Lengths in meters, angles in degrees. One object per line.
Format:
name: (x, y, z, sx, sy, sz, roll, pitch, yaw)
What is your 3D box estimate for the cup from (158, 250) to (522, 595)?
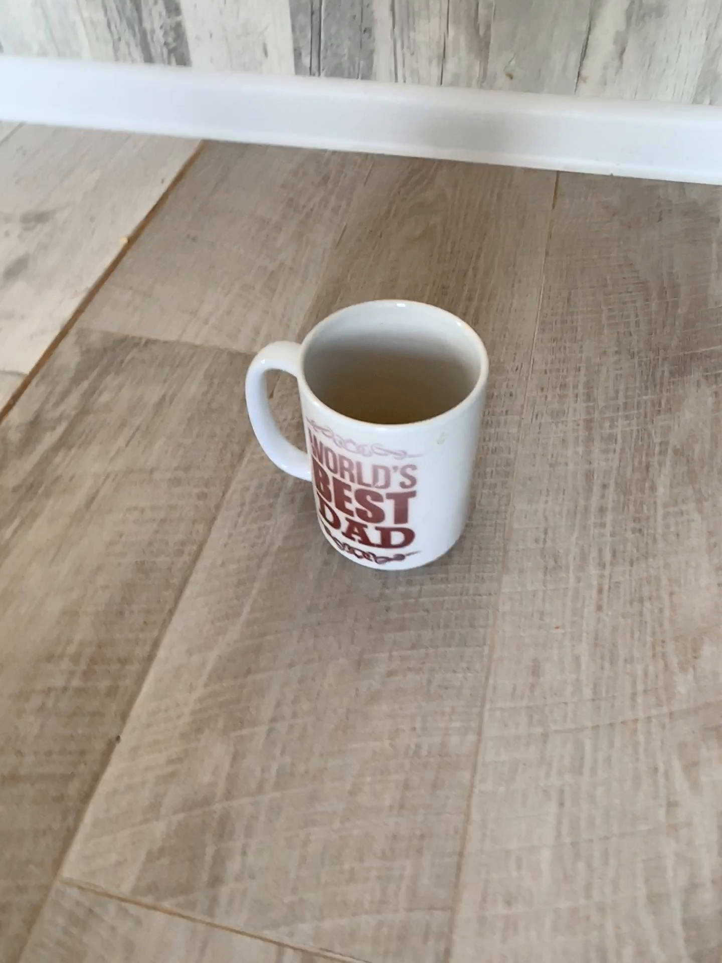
cup: (-0.006, -0.027, 0.349, 0.130, 0.110, 0.080, 16, 53, 14)
